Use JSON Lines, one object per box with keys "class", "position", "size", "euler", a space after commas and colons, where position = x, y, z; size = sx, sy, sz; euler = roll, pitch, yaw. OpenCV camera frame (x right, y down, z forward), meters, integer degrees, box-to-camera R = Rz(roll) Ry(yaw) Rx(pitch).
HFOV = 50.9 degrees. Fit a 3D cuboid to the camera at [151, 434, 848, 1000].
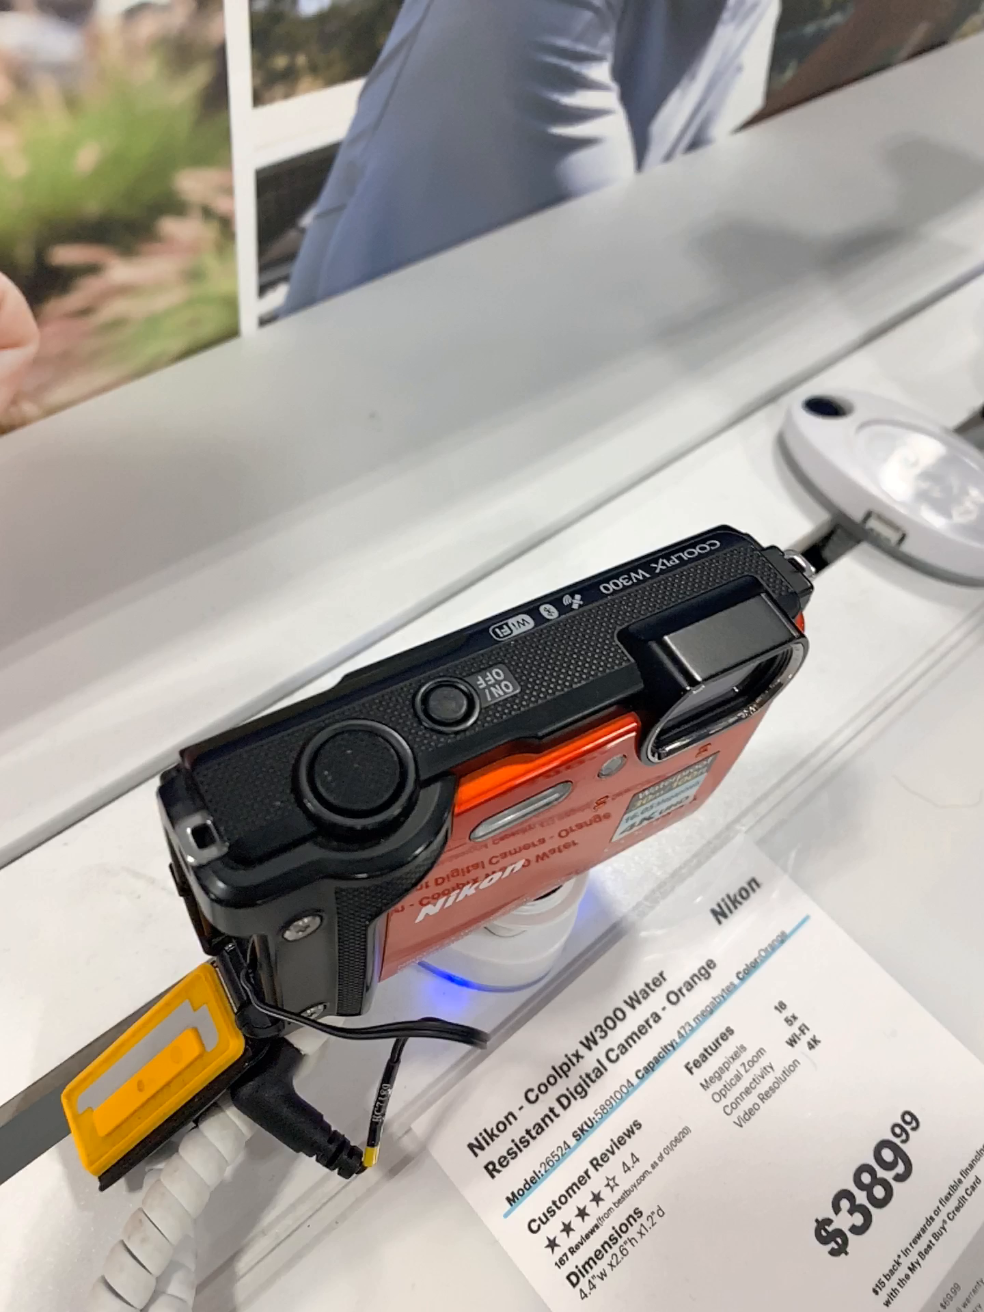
{"class": "camera", "position": [0.003, 0.010, 0.173], "size": [0.105, 0.063, 0.025], "euler": [-25, 62, -24]}
